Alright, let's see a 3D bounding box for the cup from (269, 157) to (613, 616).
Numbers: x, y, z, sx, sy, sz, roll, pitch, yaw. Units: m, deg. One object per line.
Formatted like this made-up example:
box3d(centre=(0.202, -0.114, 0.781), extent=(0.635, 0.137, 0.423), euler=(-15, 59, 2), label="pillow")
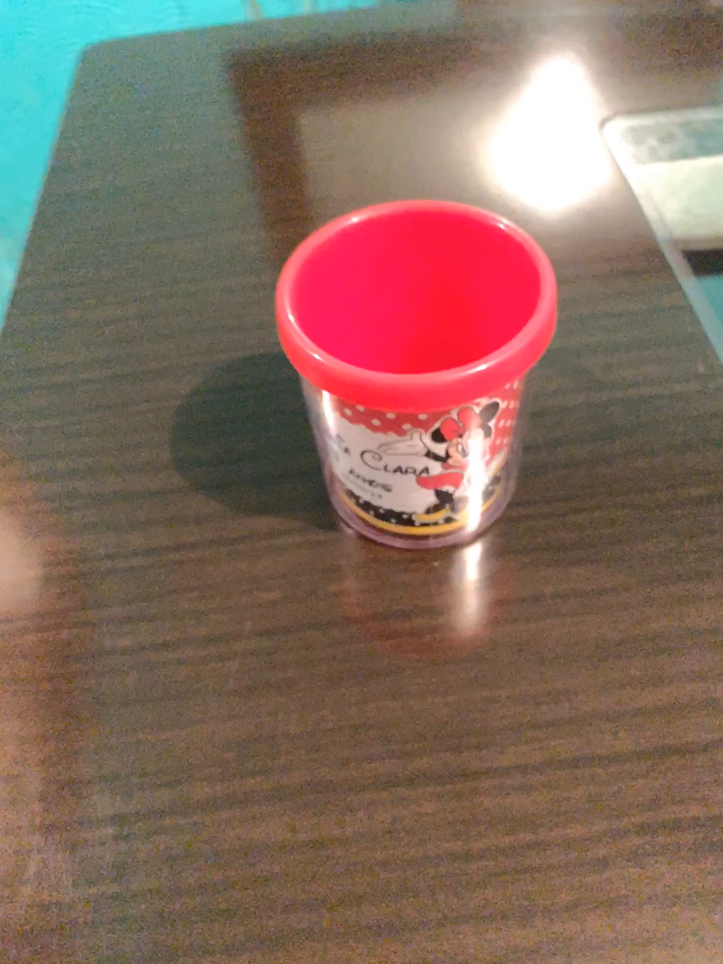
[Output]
box3d(centre=(0.021, -0.034, 0.287), extent=(0.090, 0.110, 0.120), euler=(-8, 53, -1), label="cup")
